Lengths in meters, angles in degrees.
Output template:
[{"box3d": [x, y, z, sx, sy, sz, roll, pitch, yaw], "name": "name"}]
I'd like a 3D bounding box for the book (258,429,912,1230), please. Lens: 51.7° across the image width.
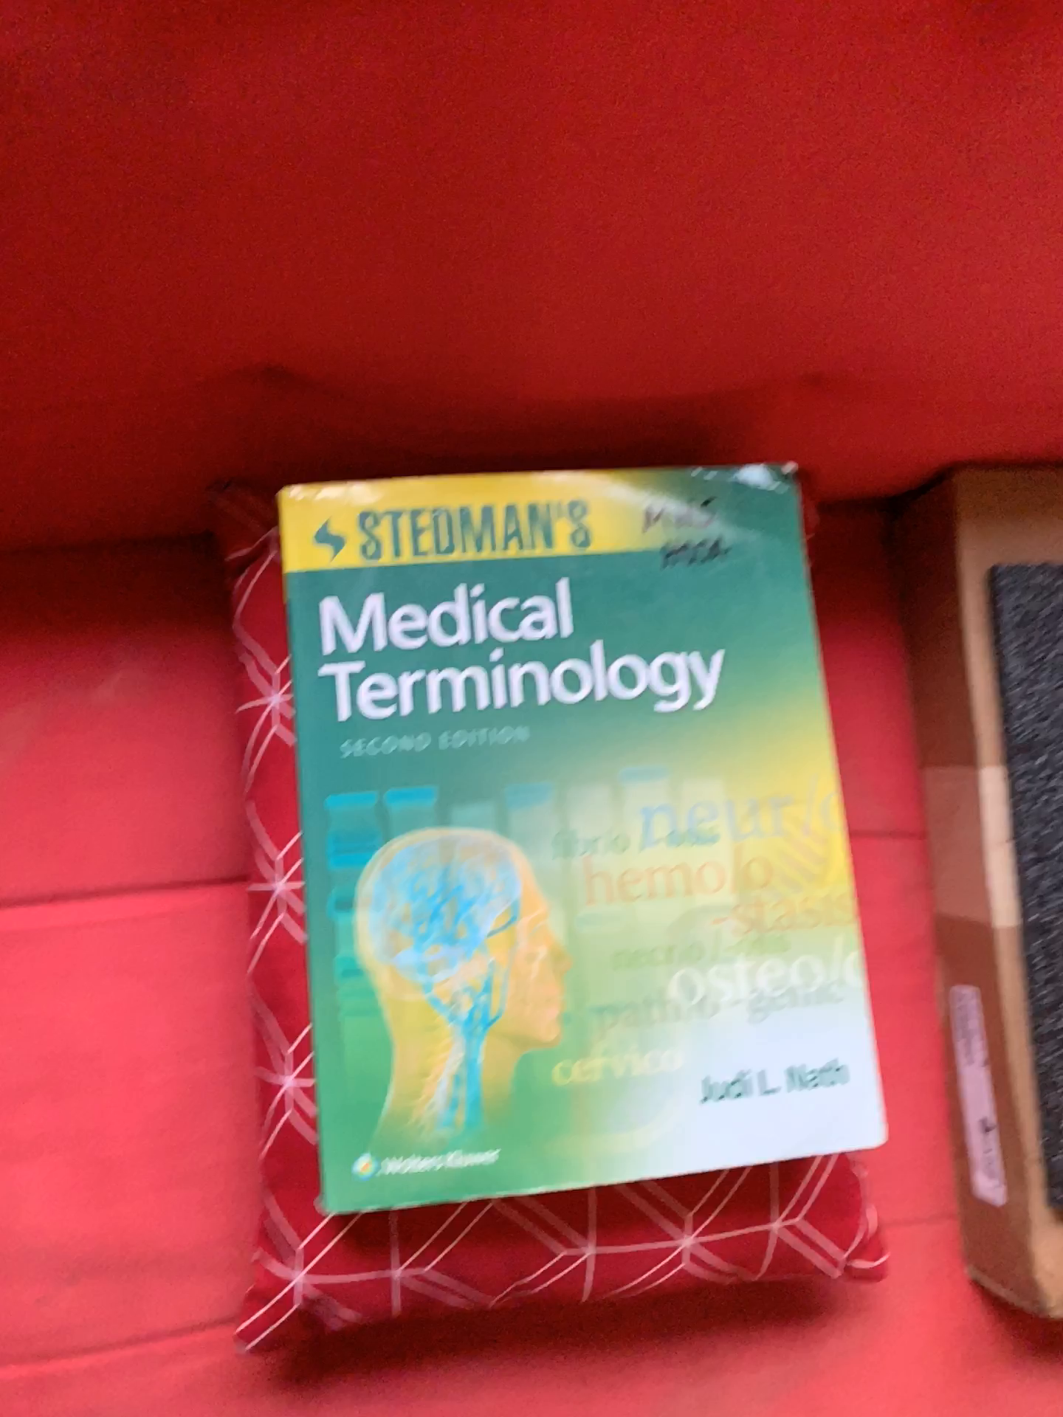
[{"box3d": [0.019, 0.036, 0.458, 0.240, 0.040, 0.300, -4, 82, -10], "name": "book"}]
